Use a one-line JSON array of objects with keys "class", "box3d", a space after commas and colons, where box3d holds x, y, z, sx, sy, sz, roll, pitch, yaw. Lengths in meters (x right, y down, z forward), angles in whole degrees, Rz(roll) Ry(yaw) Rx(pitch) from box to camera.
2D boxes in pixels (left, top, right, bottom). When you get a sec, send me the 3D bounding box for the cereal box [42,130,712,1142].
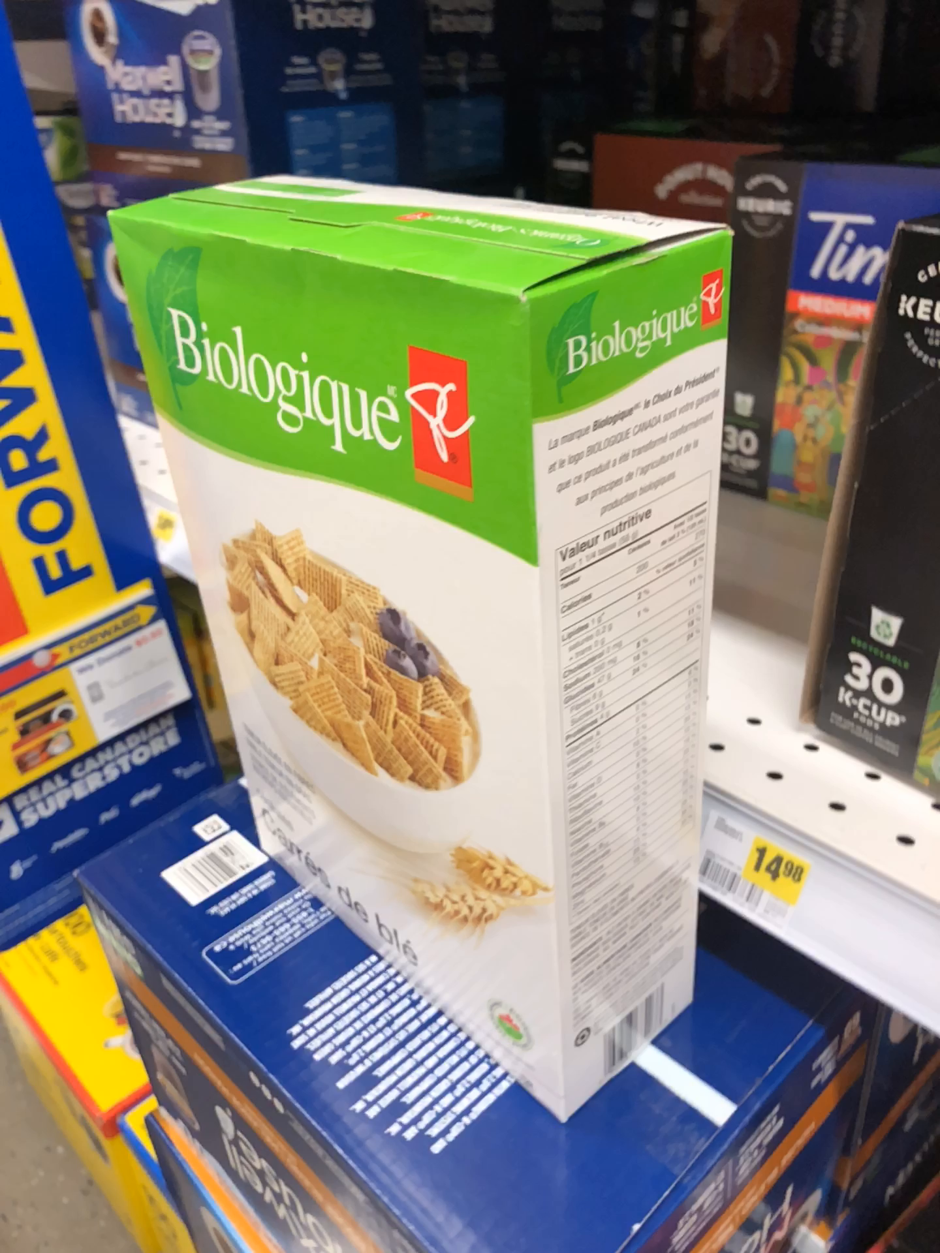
[{"class": "cereal box", "box3d": [-0.027, -0.003, 0.360, 0.070, 0.289, 0.211, -29, 38, -31]}]
